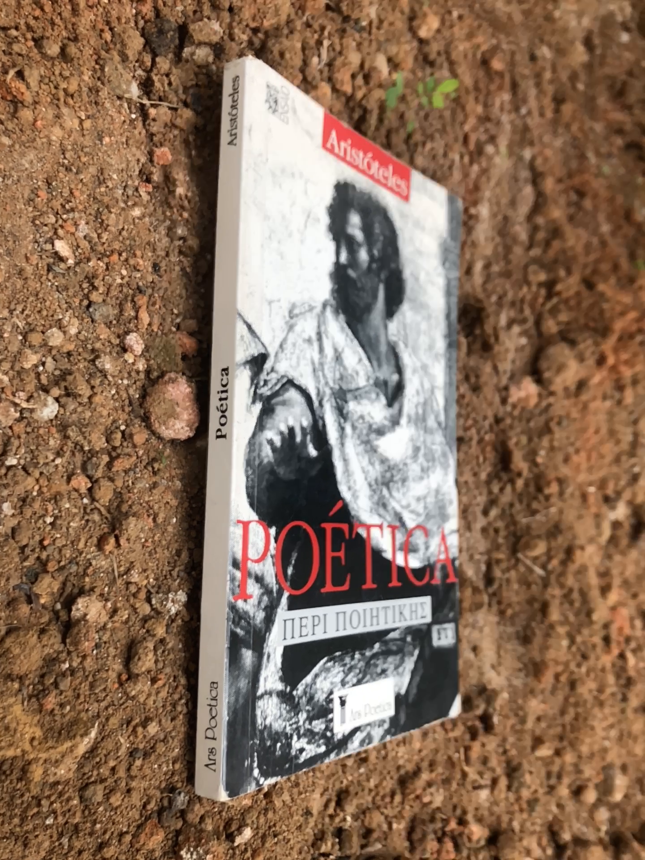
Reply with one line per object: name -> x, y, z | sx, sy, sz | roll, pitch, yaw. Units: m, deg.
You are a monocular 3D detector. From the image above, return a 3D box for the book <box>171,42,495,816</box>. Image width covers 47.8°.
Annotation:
book -> 0.016, 0.001, 0.230 | 0.131, 0.015, 0.189 | 10, 79, -48
